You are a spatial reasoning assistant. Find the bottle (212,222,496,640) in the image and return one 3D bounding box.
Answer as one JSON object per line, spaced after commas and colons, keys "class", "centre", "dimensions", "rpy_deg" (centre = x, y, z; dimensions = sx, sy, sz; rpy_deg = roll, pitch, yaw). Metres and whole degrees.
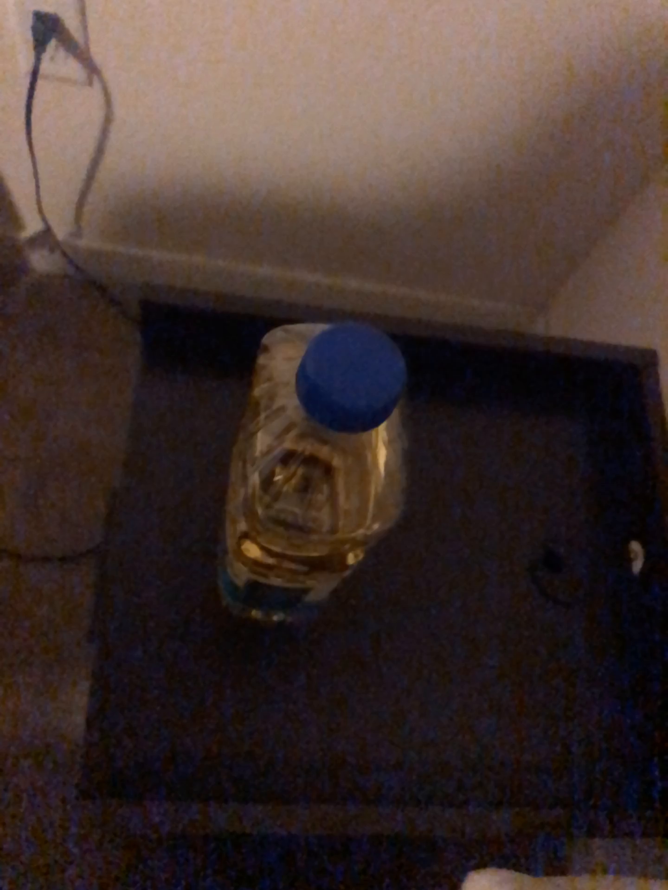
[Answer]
{"class": "bottle", "centre": [-0.010, 0.023, 0.395], "dimensions": [0.083, 0.276, 0.110], "rpy_deg": [6, 66, -10]}
